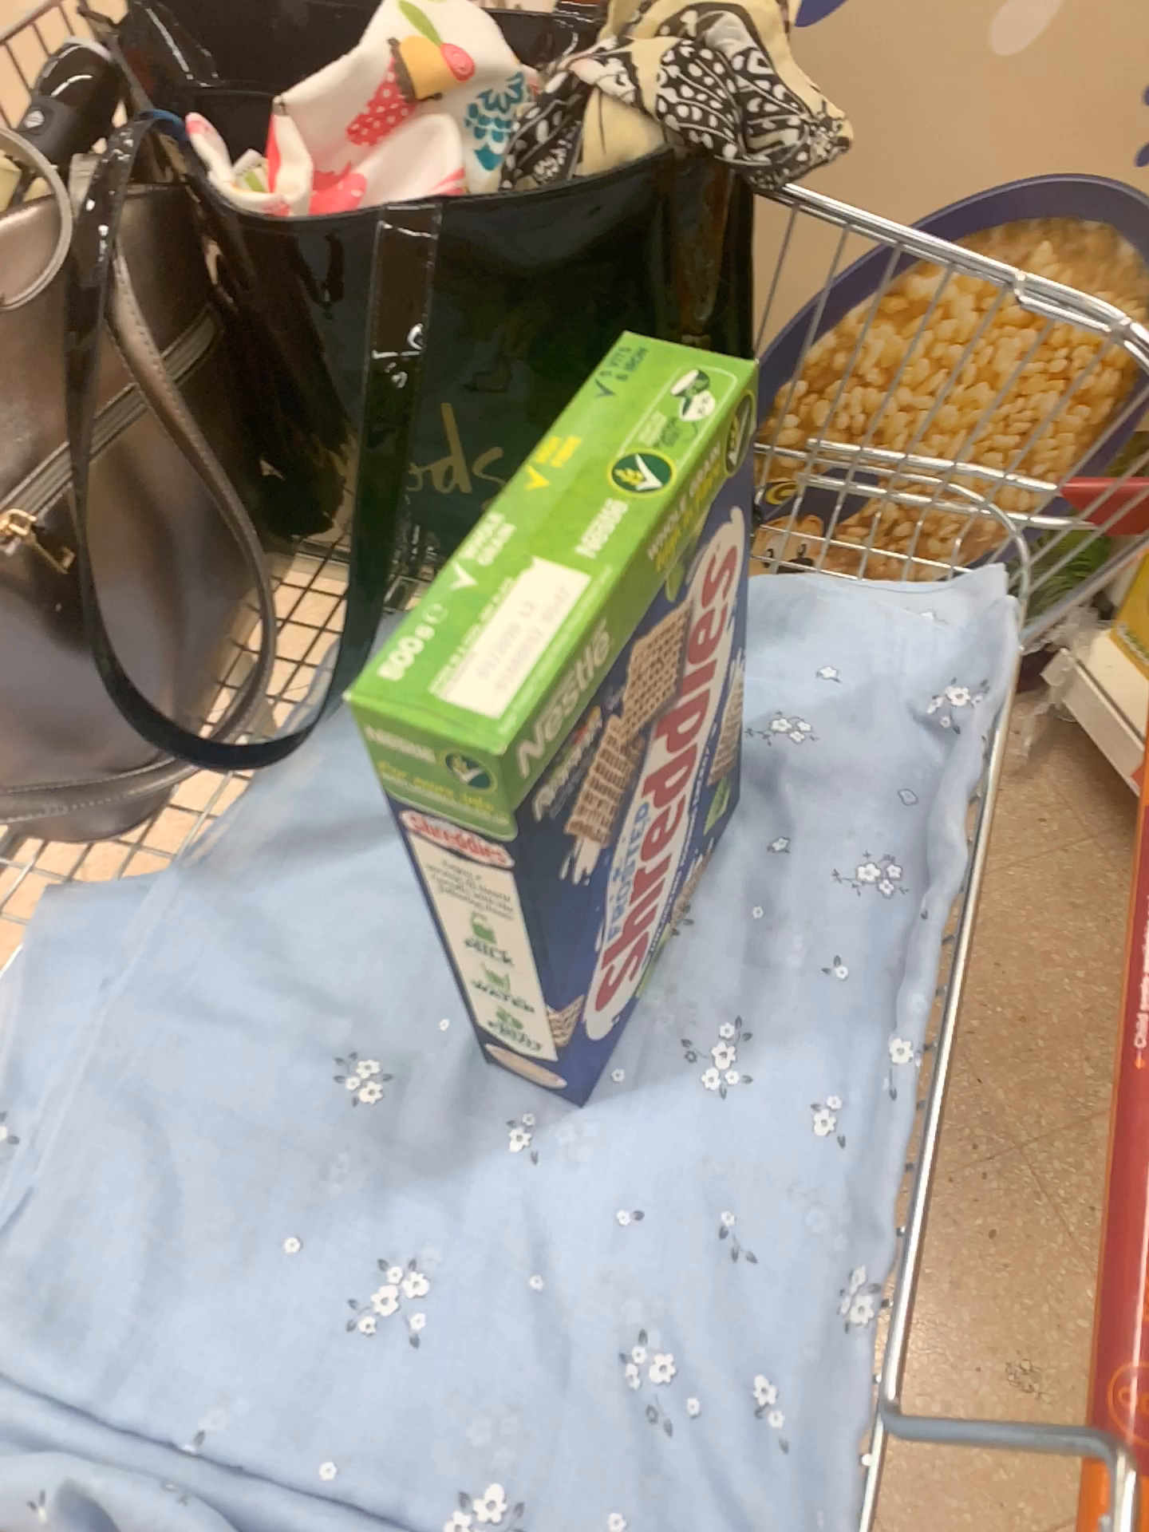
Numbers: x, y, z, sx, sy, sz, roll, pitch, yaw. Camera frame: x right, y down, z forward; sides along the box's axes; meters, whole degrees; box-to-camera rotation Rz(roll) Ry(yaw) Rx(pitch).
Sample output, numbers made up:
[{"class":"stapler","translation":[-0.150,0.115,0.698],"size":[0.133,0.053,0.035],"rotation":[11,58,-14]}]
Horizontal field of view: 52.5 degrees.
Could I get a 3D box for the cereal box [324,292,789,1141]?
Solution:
[{"class":"cereal box","translation":[0.010,-0.001,0.472],"size":[0.060,0.288,0.201],"rotation":[20,56,17]}]
